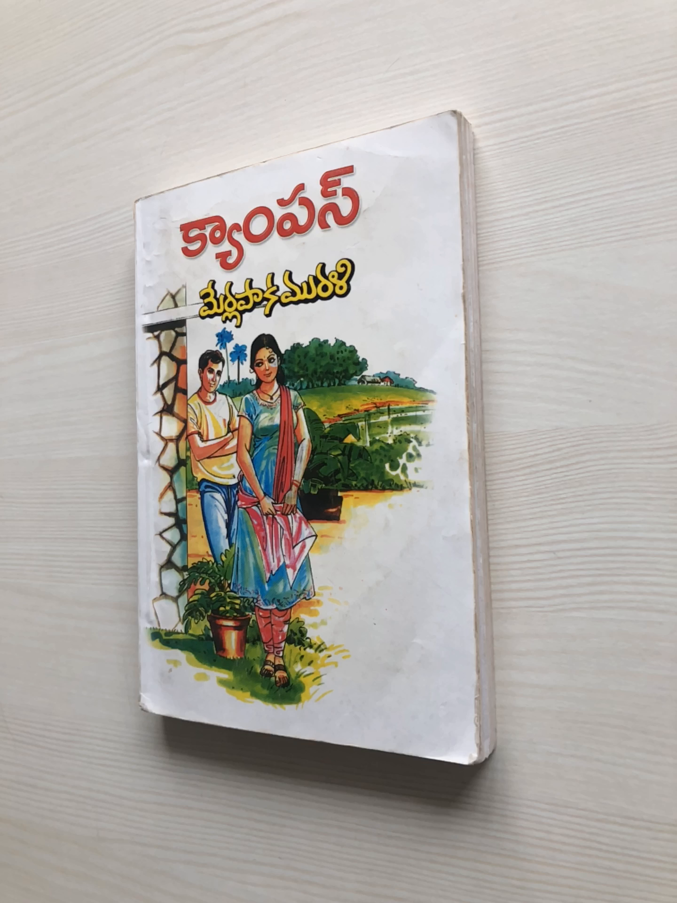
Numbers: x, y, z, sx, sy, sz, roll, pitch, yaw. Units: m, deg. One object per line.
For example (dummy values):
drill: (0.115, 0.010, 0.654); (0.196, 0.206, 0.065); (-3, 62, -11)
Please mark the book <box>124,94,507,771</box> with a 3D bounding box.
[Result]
book: (-0.013, -0.004, 0.216); (0.113, 0.016, 0.163); (-3, 87, 29)
